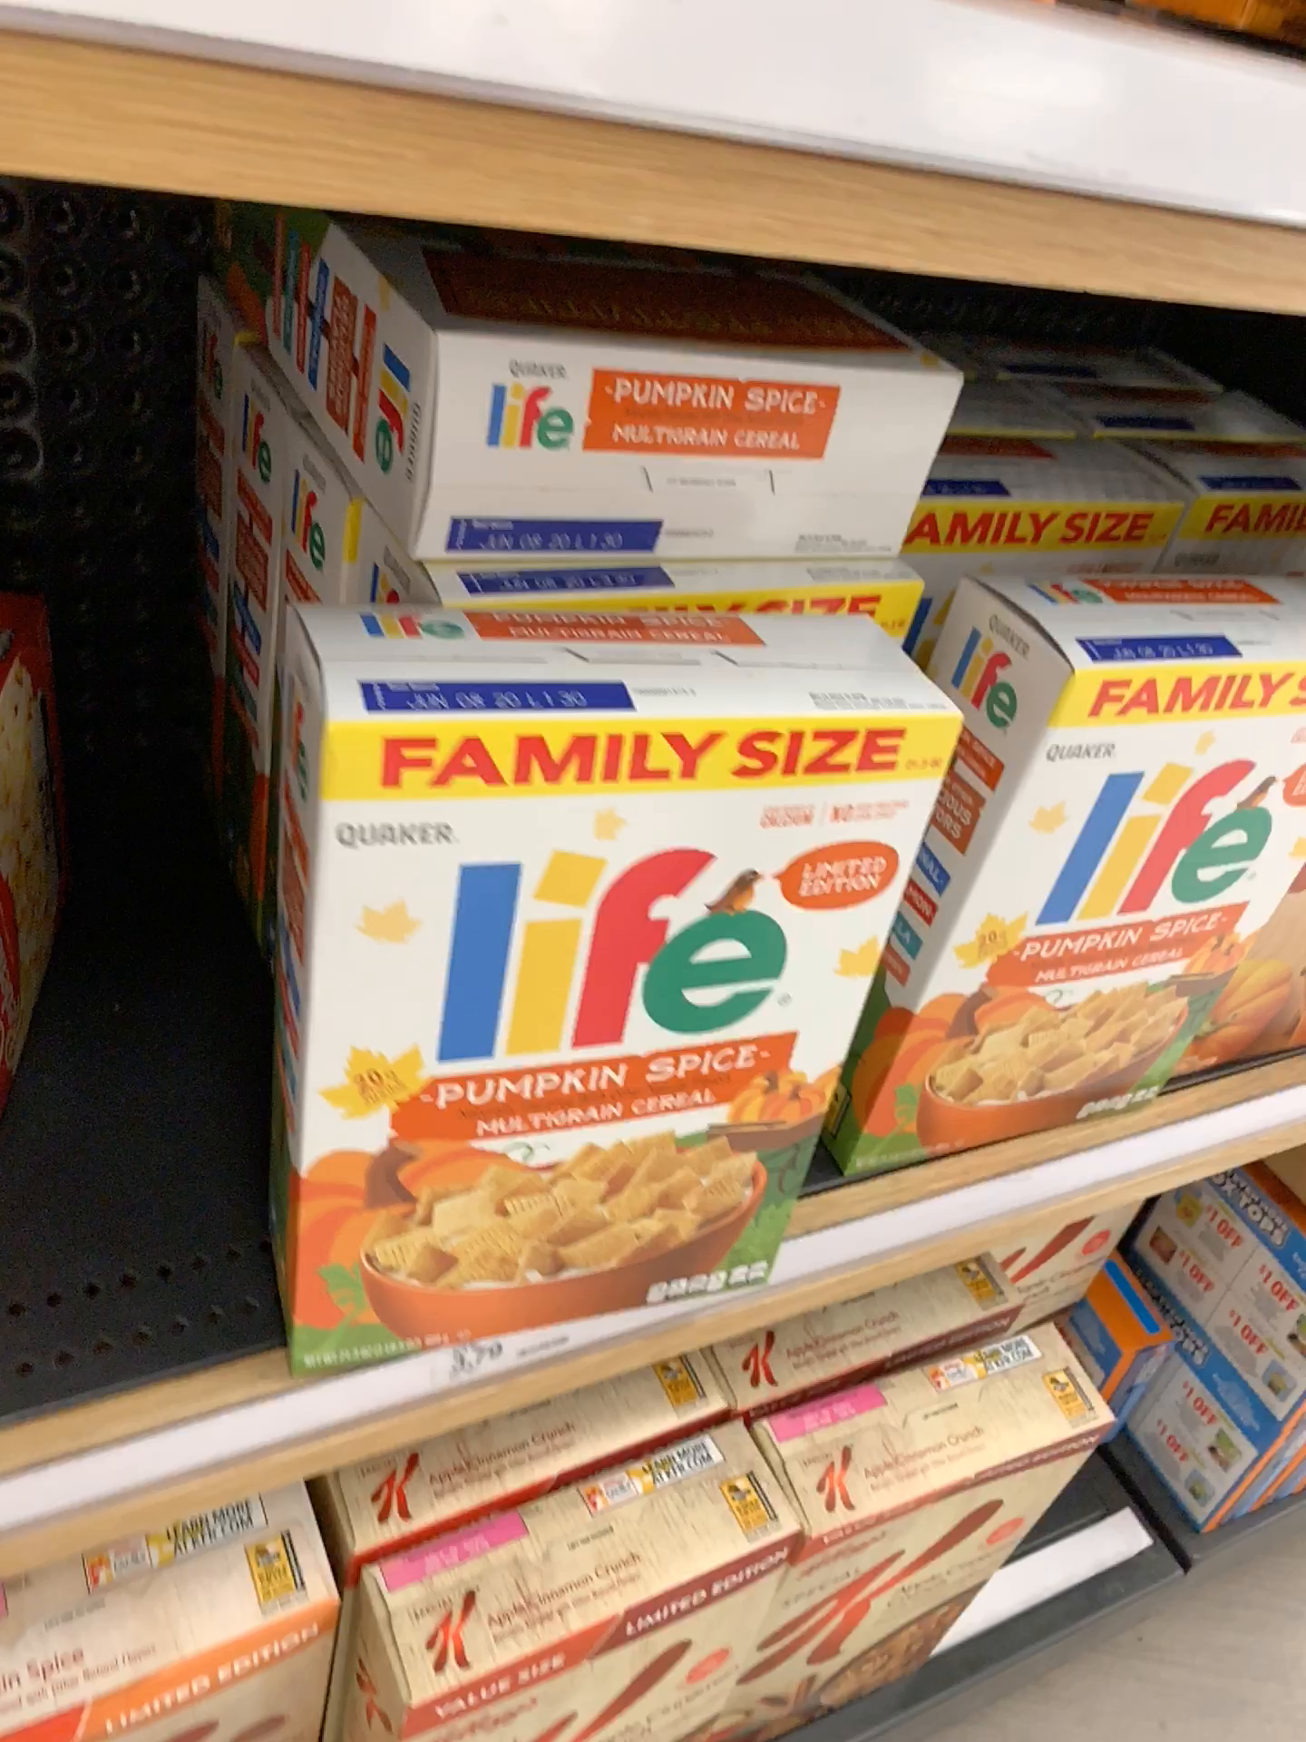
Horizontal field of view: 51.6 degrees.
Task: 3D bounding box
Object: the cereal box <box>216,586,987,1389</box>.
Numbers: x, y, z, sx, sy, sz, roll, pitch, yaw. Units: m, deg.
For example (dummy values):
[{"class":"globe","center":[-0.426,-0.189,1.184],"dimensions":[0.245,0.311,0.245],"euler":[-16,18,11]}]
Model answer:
[{"class":"cereal box","center":[-0.032,0.042,0.439],"dimensions":[0.200,0.249,0.070],"euler":[-3,35,-23]}]
